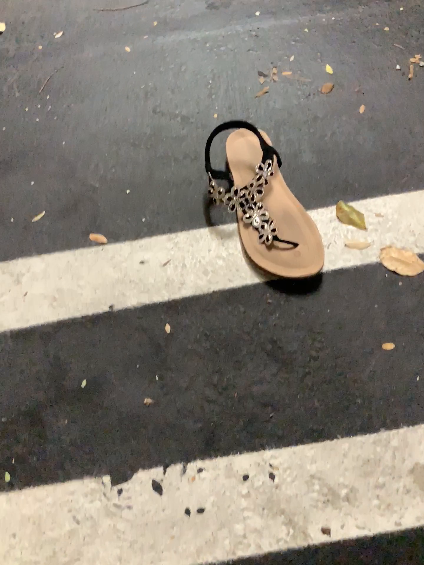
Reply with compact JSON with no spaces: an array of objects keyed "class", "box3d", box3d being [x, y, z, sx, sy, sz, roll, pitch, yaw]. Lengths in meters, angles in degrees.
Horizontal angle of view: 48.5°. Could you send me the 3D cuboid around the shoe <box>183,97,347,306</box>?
[{"class":"shoe","box3d":[0.058,-0.112,0.605,0.120,0.060,0.260,-16,64,-5]}]
